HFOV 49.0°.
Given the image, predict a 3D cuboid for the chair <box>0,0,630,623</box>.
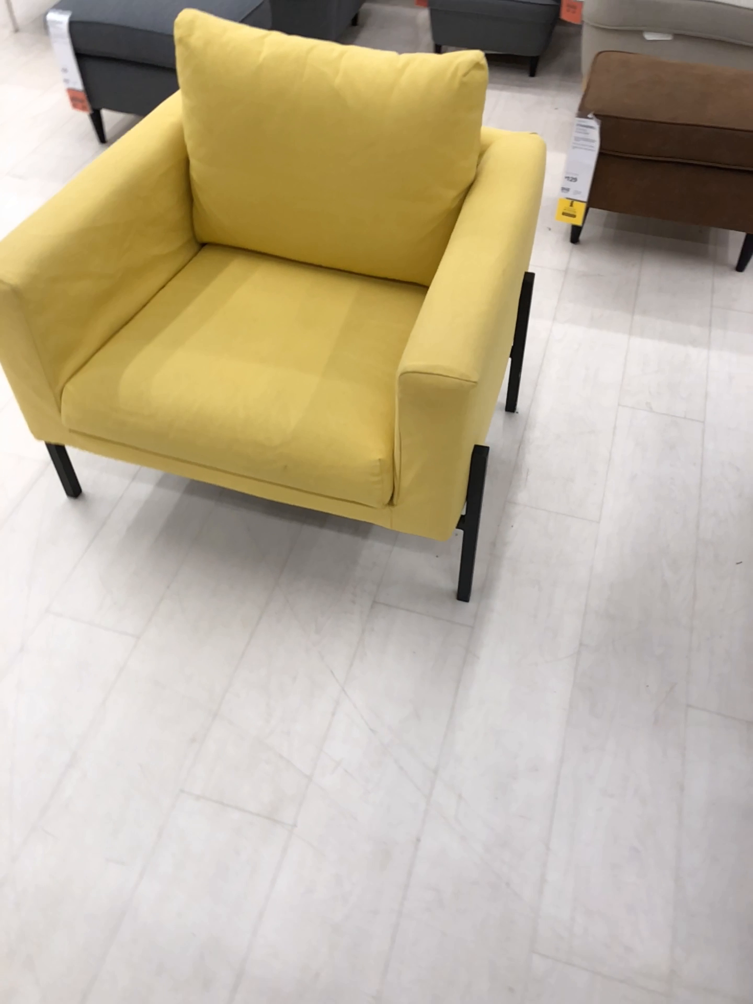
[{"bbox_3d":[-0.148,-0.384,1.551,0.980,0.757,0.692,14,51,11],"label":"chair"}]
